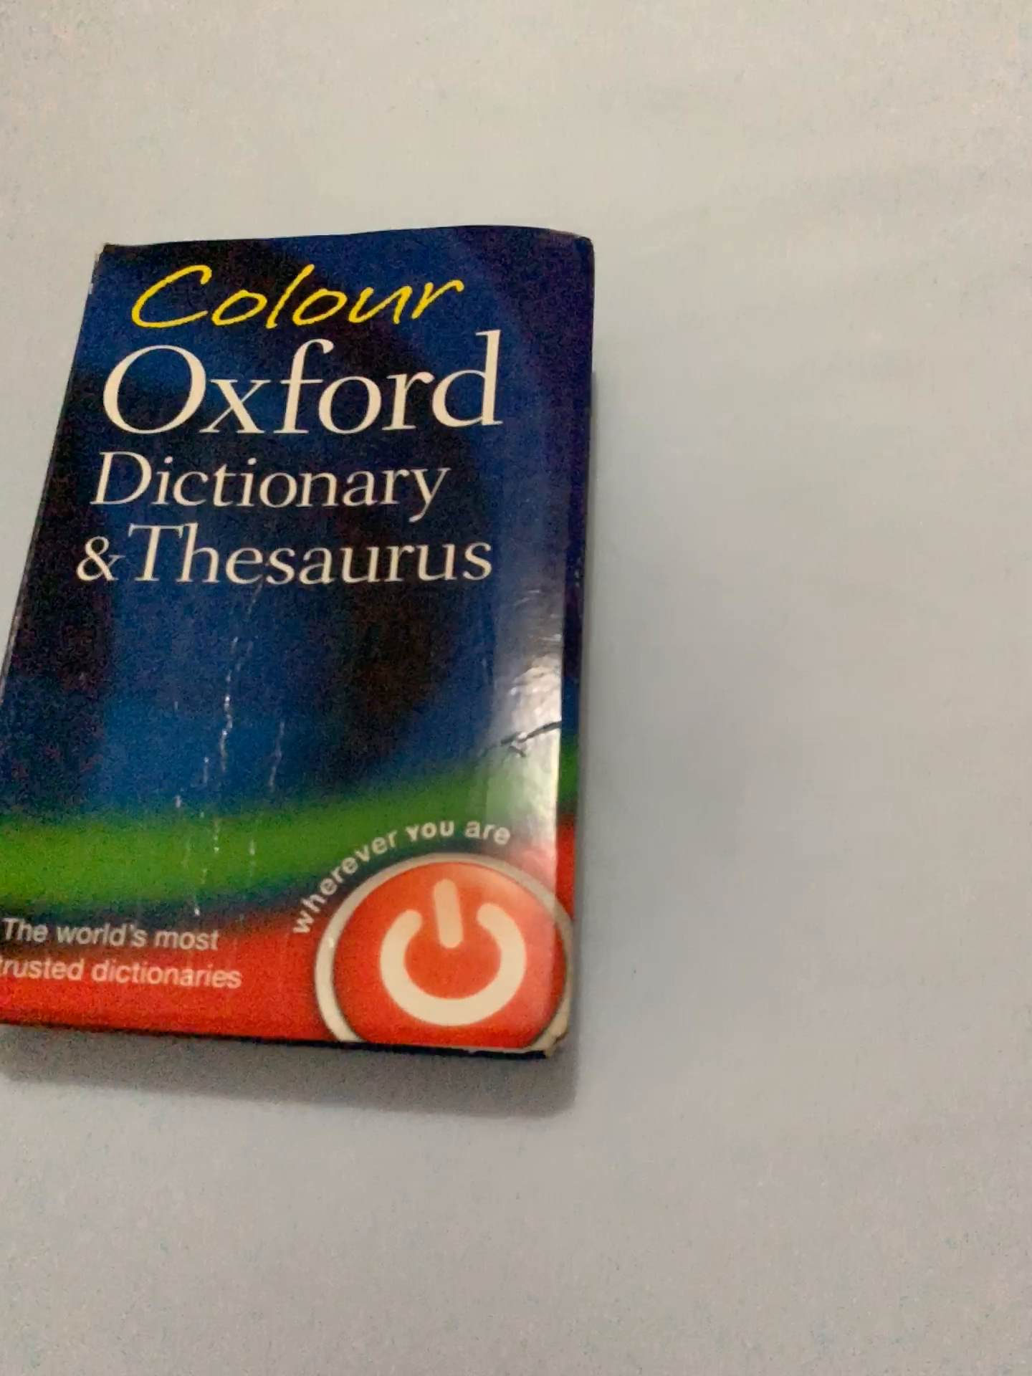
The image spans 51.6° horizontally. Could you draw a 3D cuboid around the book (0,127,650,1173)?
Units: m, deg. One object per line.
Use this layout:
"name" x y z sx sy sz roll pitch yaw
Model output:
"book" -0.038 -0.013 0.203 0.120 0.040 0.181 -1 71 12
